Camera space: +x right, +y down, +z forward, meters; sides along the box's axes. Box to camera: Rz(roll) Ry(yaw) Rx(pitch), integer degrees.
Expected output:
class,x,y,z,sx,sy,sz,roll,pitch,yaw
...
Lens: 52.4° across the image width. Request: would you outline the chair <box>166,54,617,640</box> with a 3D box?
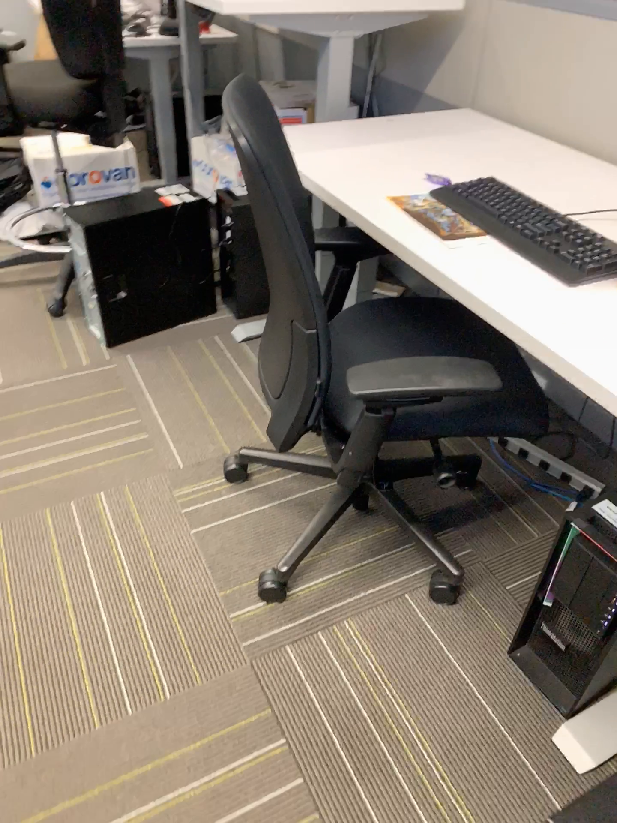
class,x,y,z,sx,sy,sz,roll,pitch,yaw
chair,0.150,-0.162,1.331,0.750,0.935,0.704,-7,39,-12
